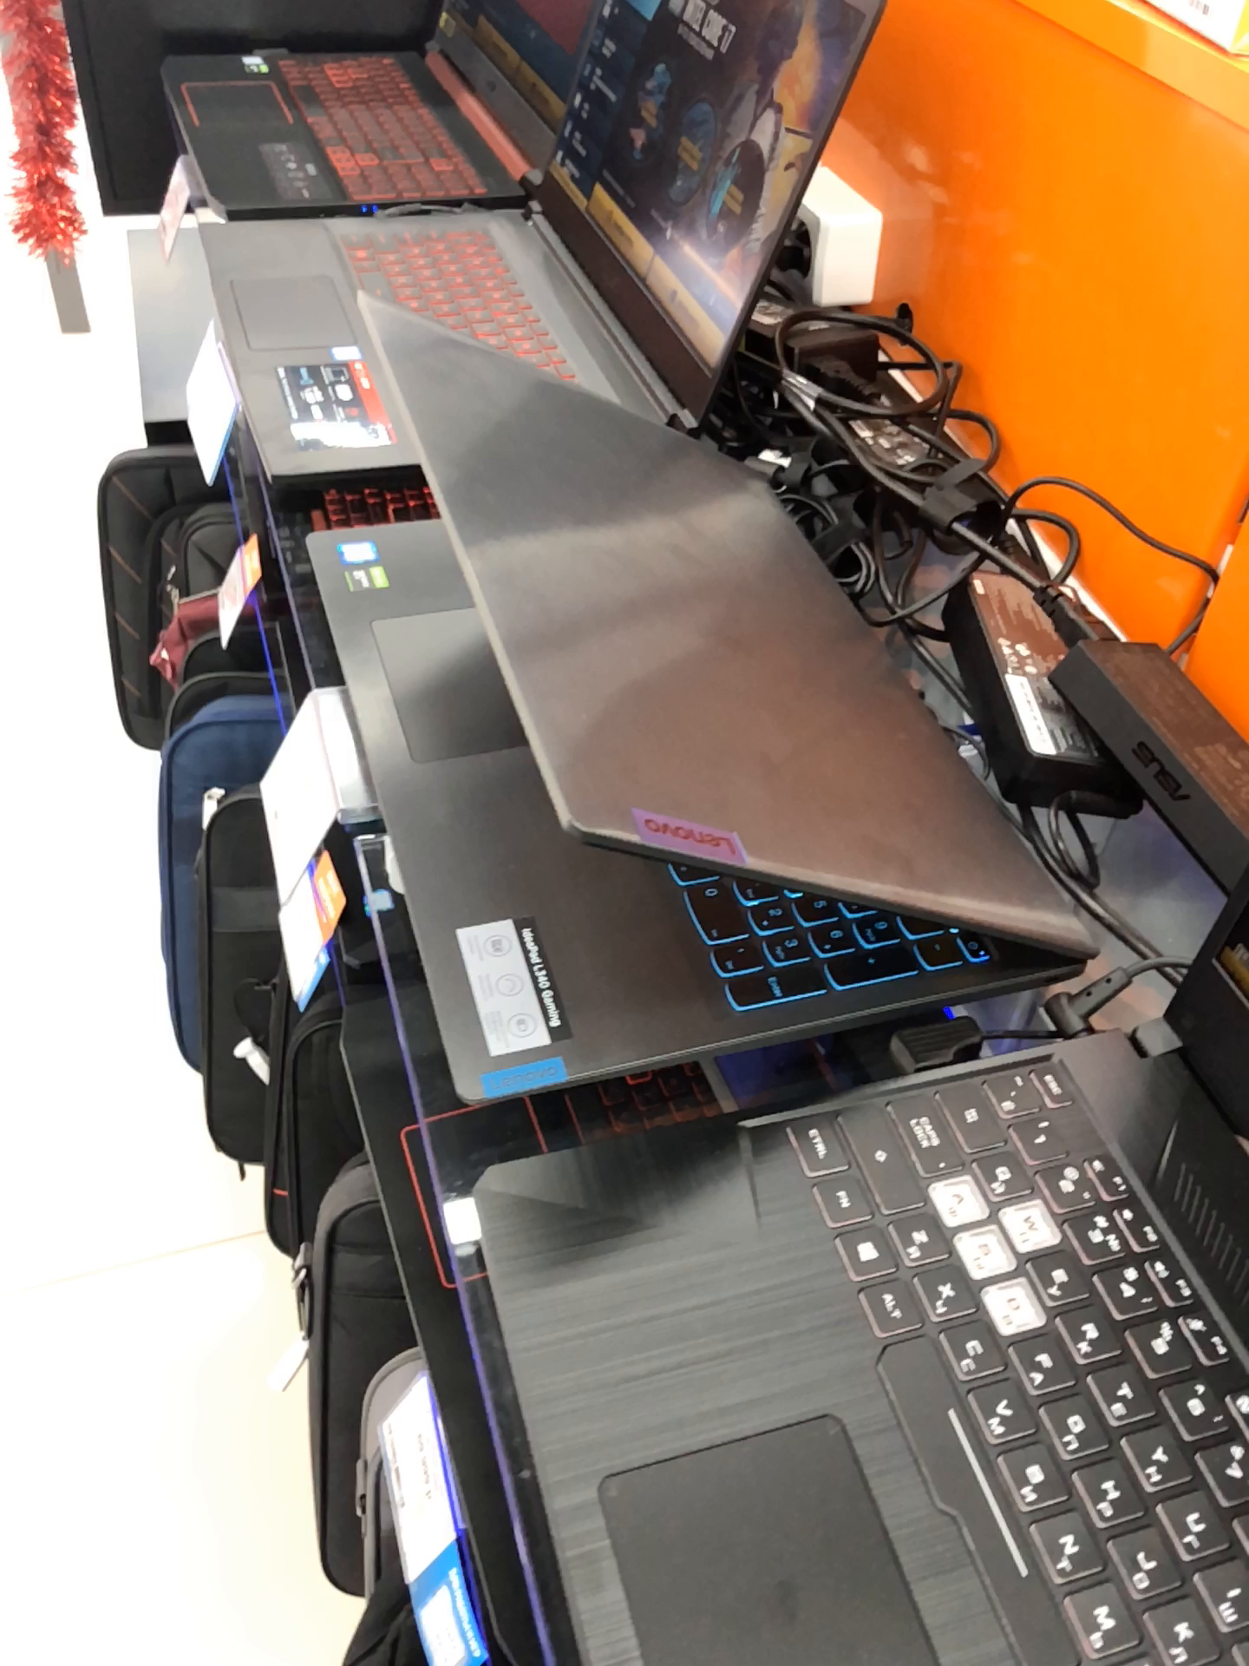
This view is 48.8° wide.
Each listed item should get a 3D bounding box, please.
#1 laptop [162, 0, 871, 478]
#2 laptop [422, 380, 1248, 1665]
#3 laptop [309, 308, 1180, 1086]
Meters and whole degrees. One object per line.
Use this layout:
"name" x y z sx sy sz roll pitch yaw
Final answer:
"laptop" -0.085 -0.430 0.847 0.325 0.228 0.350 -10 46 -16
"laptop" 0.141 0.124 0.259 0.277 0.250 0.385 -8 44 -14
"laptop" 0.014 -0.090 0.581 0.241 0.118 0.349 -9 43 -14
